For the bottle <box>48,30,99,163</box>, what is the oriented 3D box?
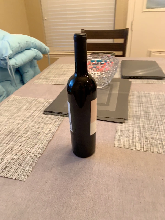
[{"bbox_3d":[-0.009,-0.019,0.434,0.090,0.328,0.084,-2,30,1],"label":"bottle"}]
